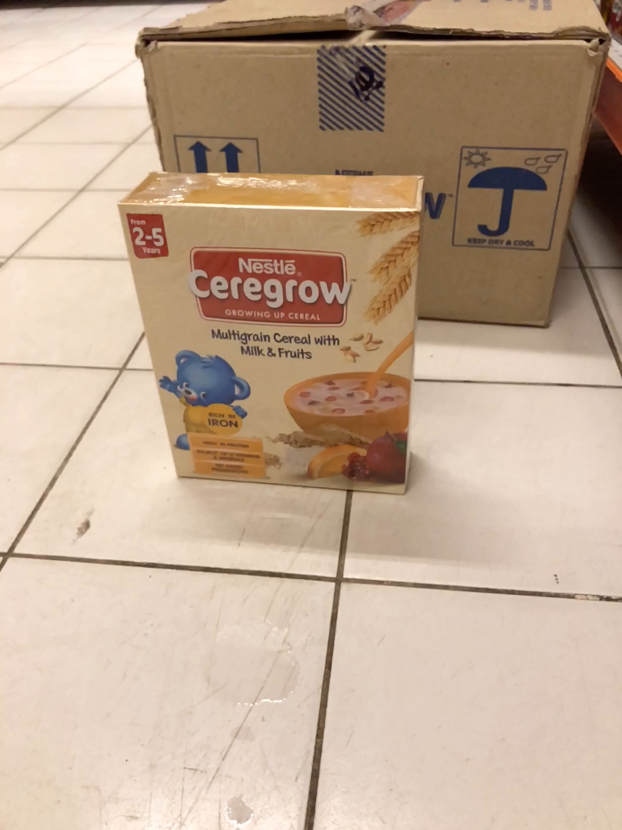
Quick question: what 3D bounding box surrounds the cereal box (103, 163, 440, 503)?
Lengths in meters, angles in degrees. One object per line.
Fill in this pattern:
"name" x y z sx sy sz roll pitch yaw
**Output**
"cereal box" -0.013 -0.041 0.398 0.160 0.189 0.050 3 38 8
